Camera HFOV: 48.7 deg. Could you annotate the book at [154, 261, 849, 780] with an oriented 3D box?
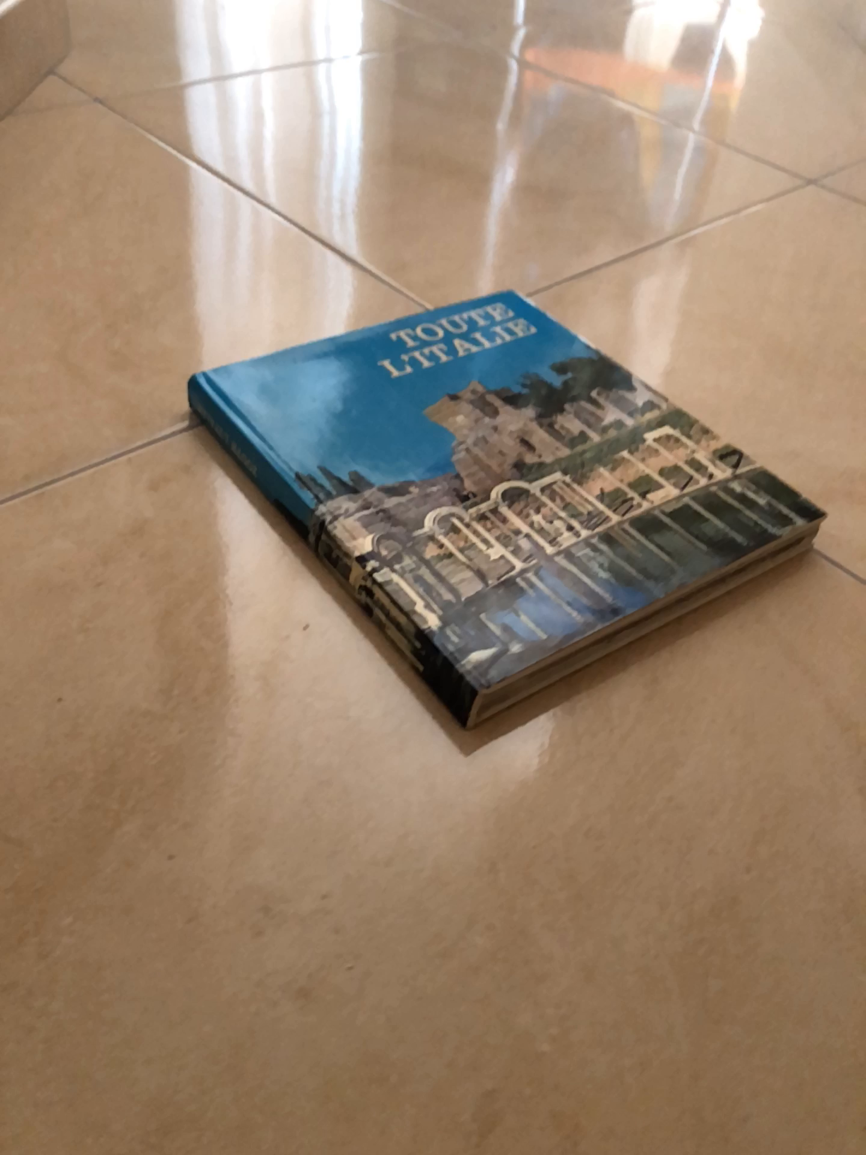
[{"bbox_3d":[0.026,-0.064,0.520,0.241,0.050,0.290,-24,52,-29],"label":"book"}]
